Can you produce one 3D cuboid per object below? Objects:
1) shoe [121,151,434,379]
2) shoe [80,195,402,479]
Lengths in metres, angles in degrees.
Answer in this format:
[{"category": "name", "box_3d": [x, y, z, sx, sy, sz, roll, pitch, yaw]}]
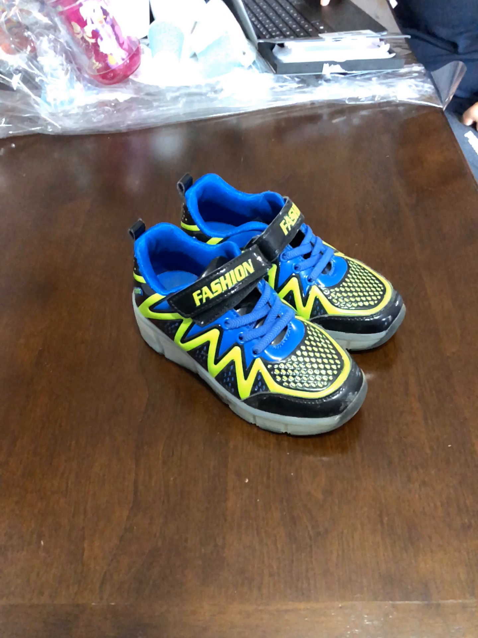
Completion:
[{"category": "shoe", "box_3d": [0.032, -0.052, 0.462, 0.230, 0.120, 0.090, 17, 53, 22]}, {"category": "shoe", "box_3d": [0.001, 0.007, 0.419, 0.210, 0.120, 0.100, 25, 57, 27]}]
